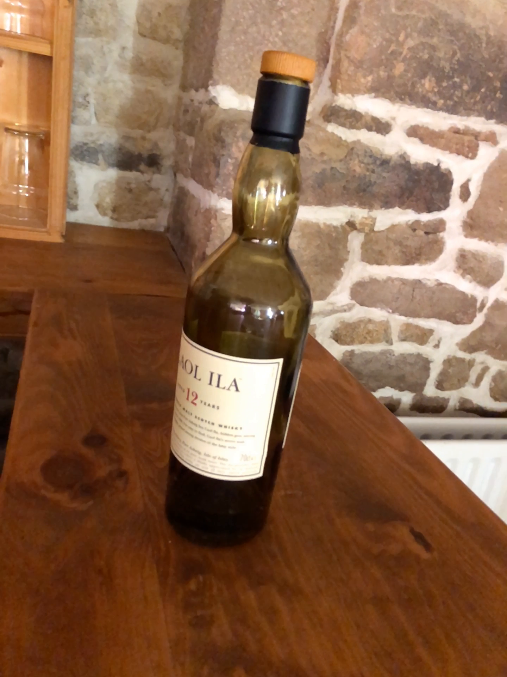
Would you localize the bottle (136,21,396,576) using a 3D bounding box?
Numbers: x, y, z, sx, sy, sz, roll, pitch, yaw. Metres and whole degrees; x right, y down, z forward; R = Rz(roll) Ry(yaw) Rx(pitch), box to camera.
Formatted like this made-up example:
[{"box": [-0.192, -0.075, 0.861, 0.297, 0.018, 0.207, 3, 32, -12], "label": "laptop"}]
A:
[{"box": [-0.002, -0.015, 0.337, 0.080, 0.299, 0.070, 23, 22, 32], "label": "bottle"}]
